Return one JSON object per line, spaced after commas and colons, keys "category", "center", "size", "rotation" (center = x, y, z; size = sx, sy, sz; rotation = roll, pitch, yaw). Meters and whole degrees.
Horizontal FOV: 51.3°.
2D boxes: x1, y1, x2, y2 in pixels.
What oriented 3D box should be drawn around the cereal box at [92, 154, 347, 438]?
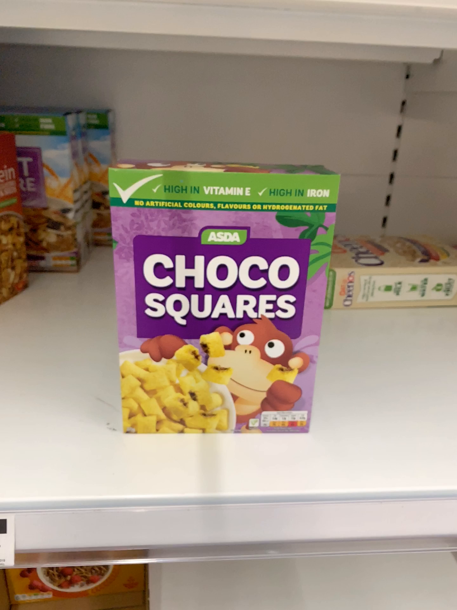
{"category": "cereal box", "center": [-0.011, -0.001, 0.431], "size": [0.190, 0.248, 0.060], "rotation": [1, 23, -3]}
